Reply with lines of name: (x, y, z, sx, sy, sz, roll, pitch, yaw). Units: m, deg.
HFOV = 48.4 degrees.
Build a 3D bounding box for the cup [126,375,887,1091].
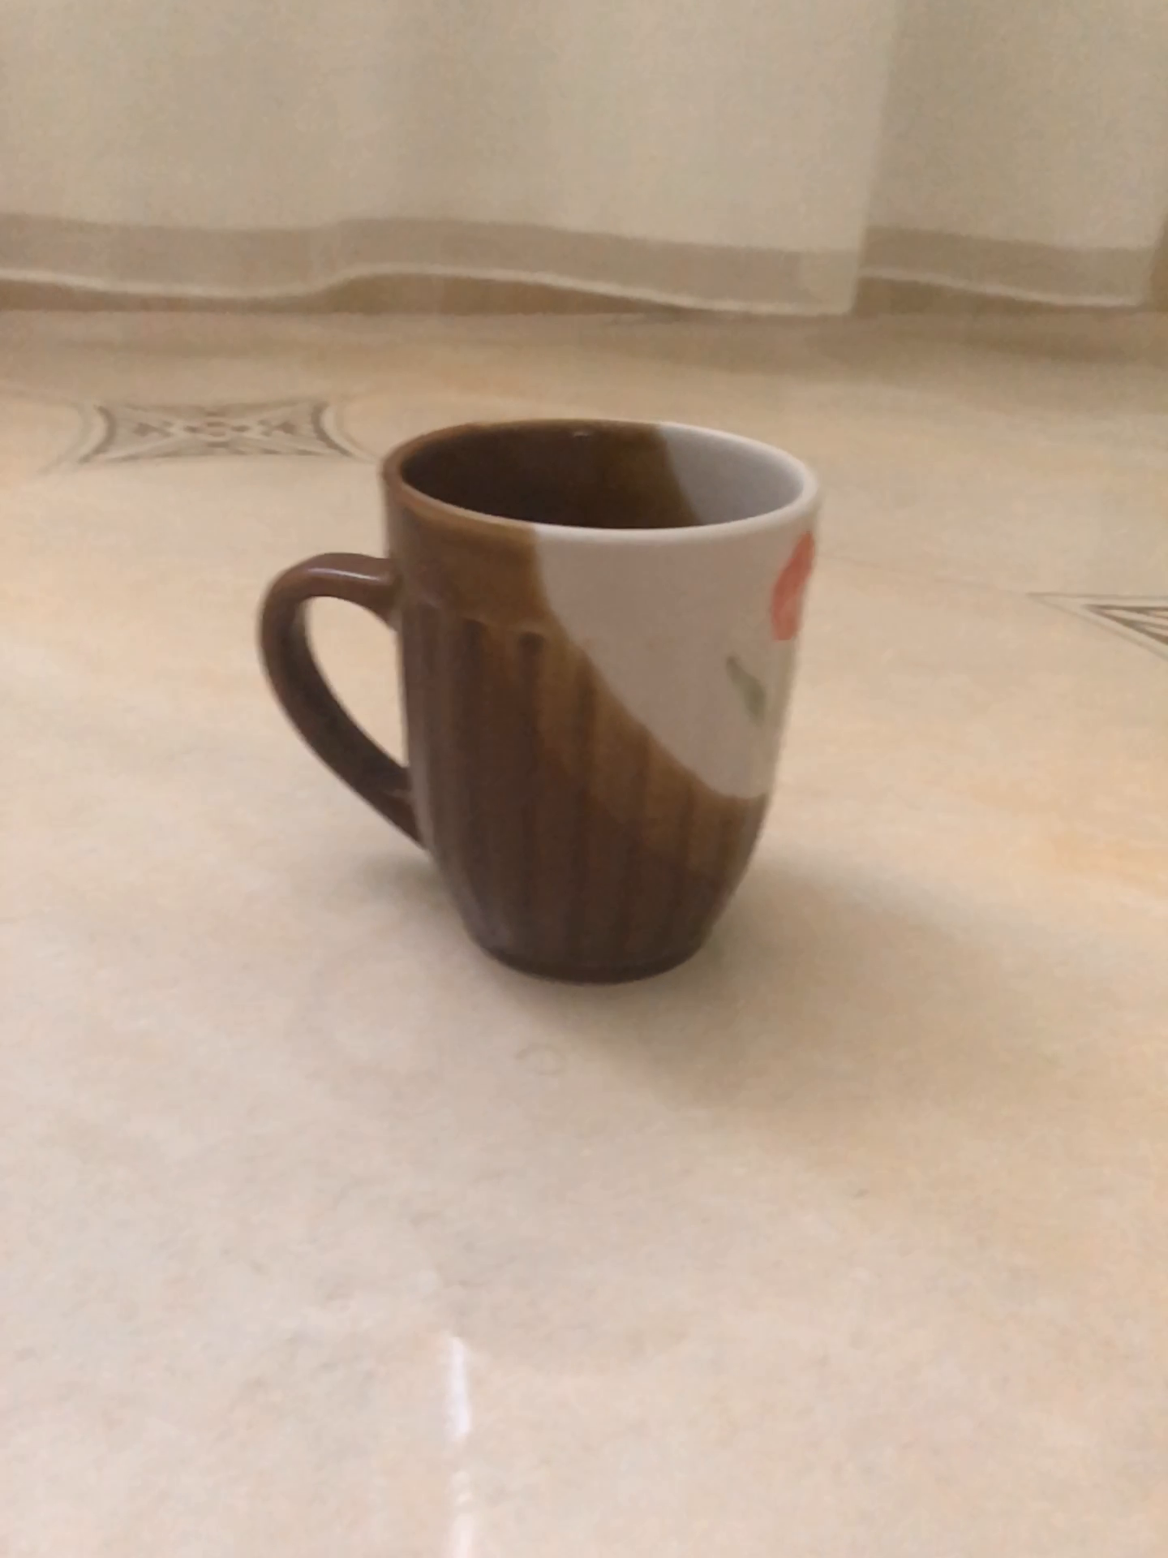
cup: (-0.013, -0.018, 0.239, 0.104, 0.086, 0.076, 18, 31, 27)
